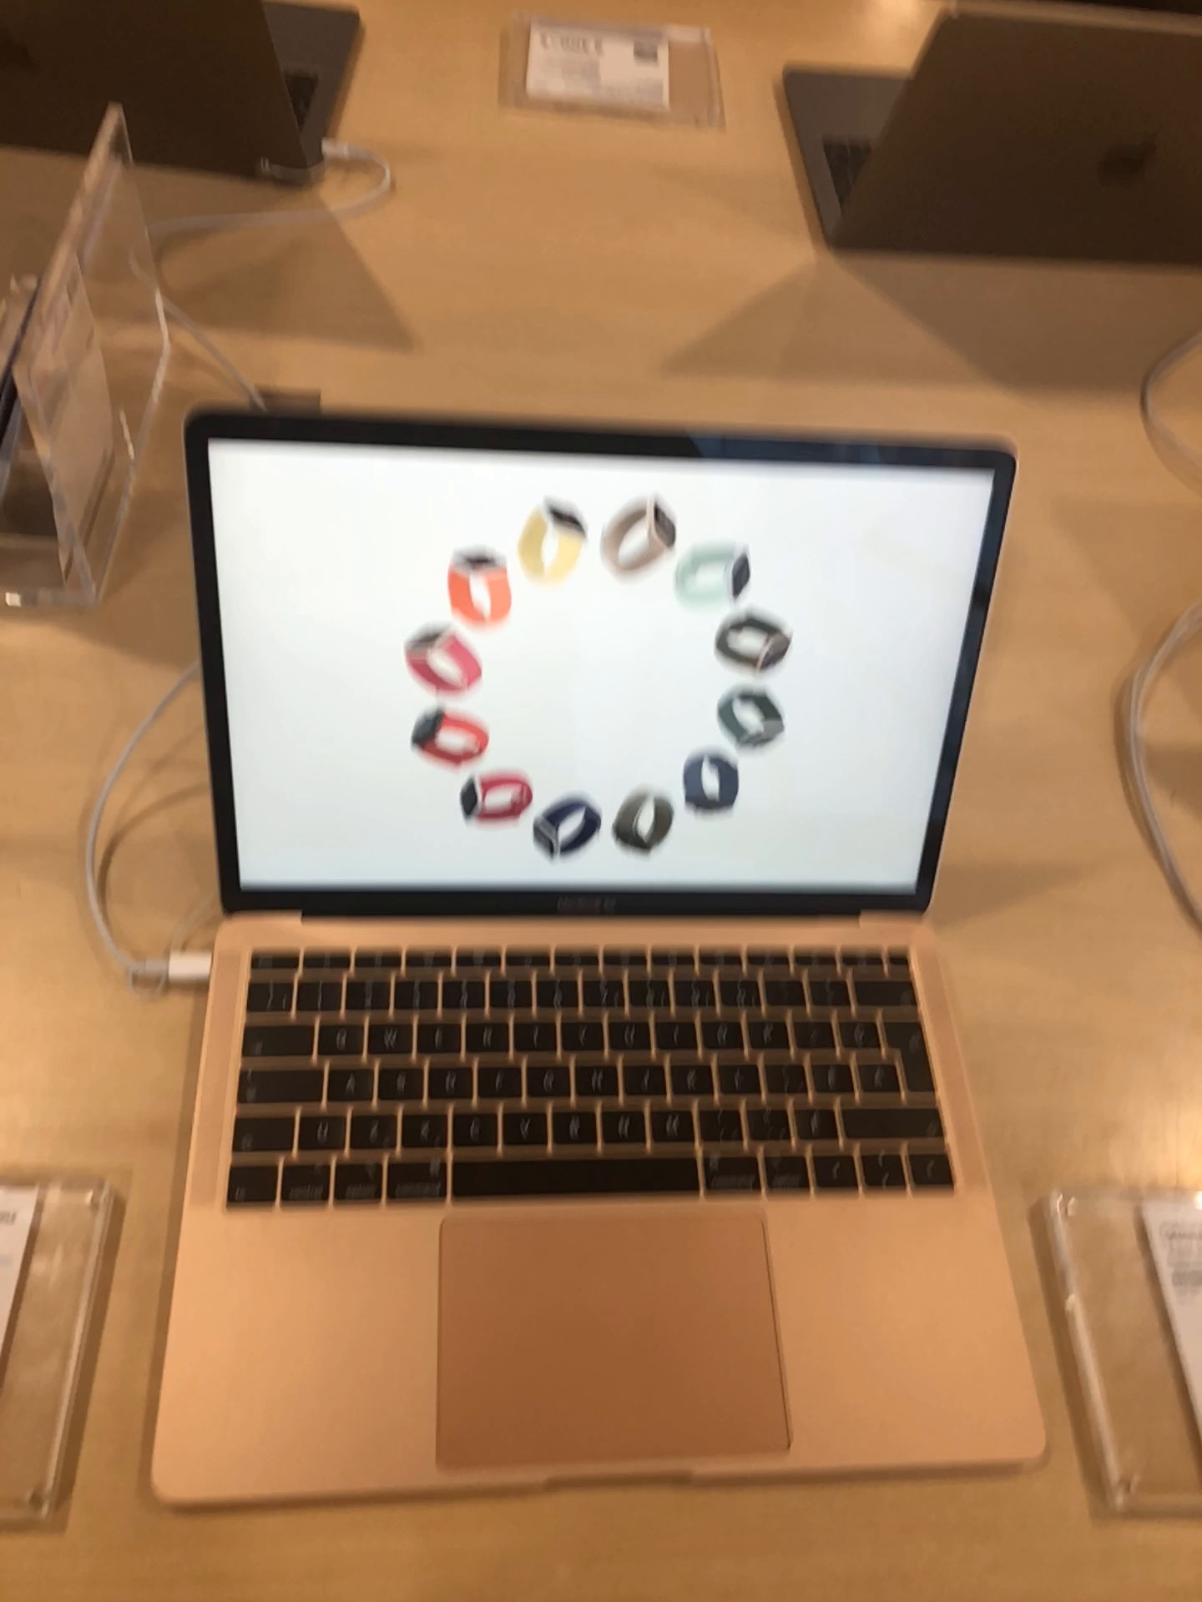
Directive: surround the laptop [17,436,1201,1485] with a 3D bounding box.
[{"bbox_3d":[0.005,0.049,0.448,0.289,0.168,0.298,1,55,-7],"label":"laptop"}]
